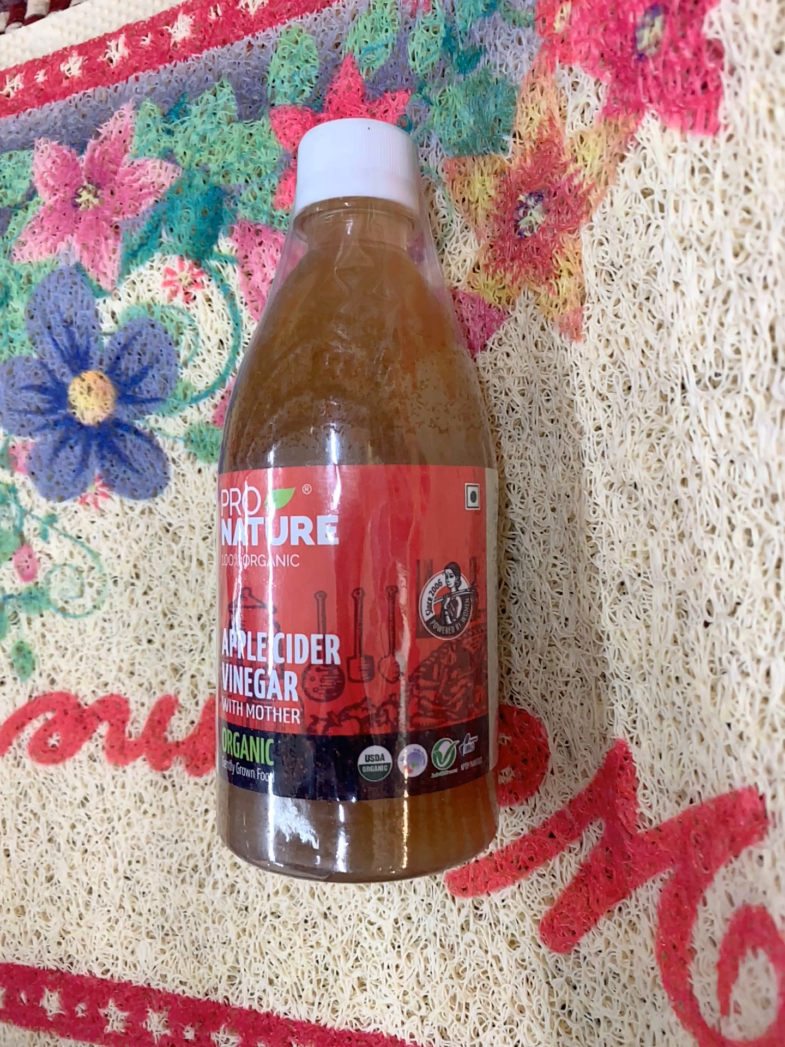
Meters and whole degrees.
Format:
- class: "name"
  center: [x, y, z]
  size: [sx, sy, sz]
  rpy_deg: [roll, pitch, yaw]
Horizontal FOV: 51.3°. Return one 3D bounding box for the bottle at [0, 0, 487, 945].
- class: "bottle"
  center: [-0.032, -0.007, 0.178]
  size: [0.080, 0.050, 0.160]
  rpy_deg: [-2, 96, 30]
